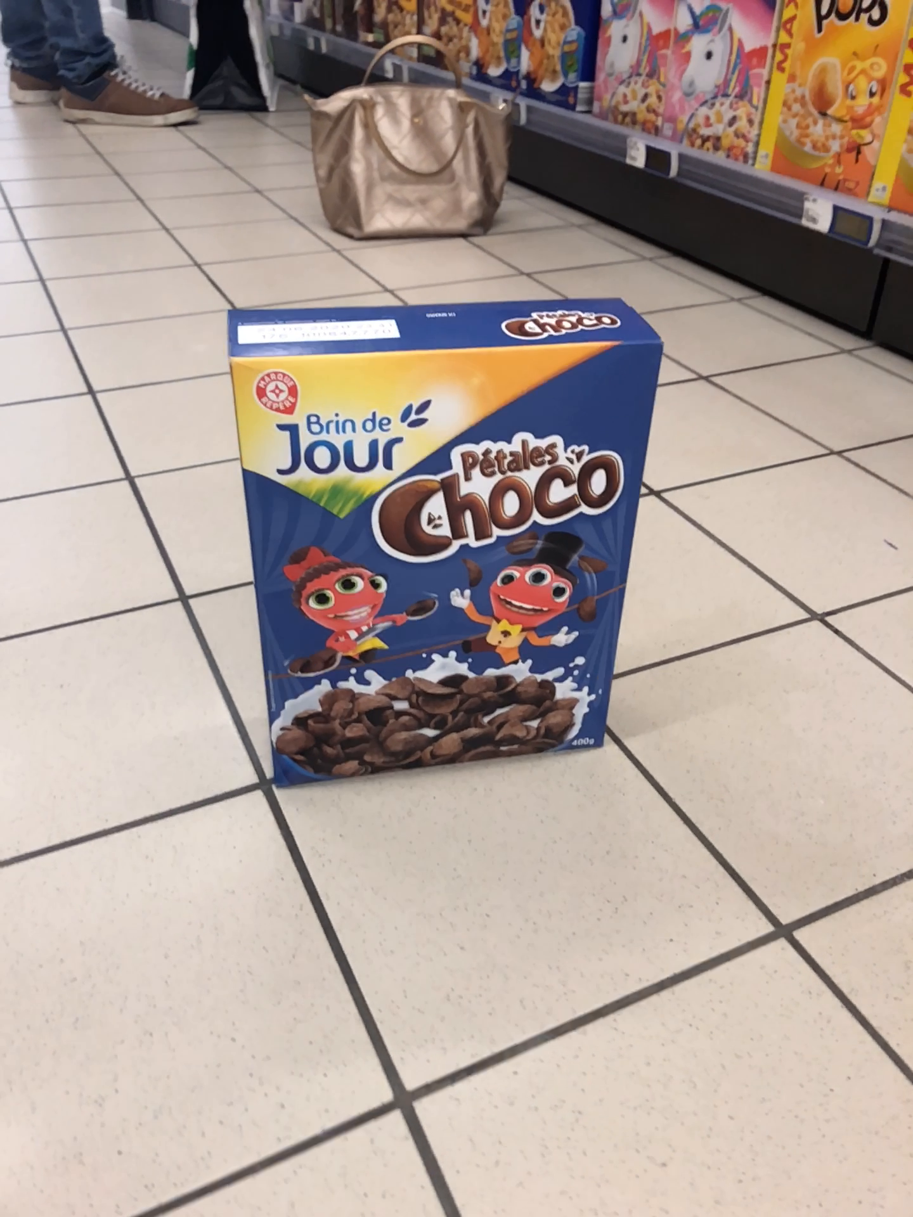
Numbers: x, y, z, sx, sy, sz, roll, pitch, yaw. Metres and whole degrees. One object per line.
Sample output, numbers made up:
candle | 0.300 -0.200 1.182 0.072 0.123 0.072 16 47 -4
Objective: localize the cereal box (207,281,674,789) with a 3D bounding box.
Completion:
cereal box | -0.012 -0.032 0.523 0.200 0.248 0.070 -5 35 -9
